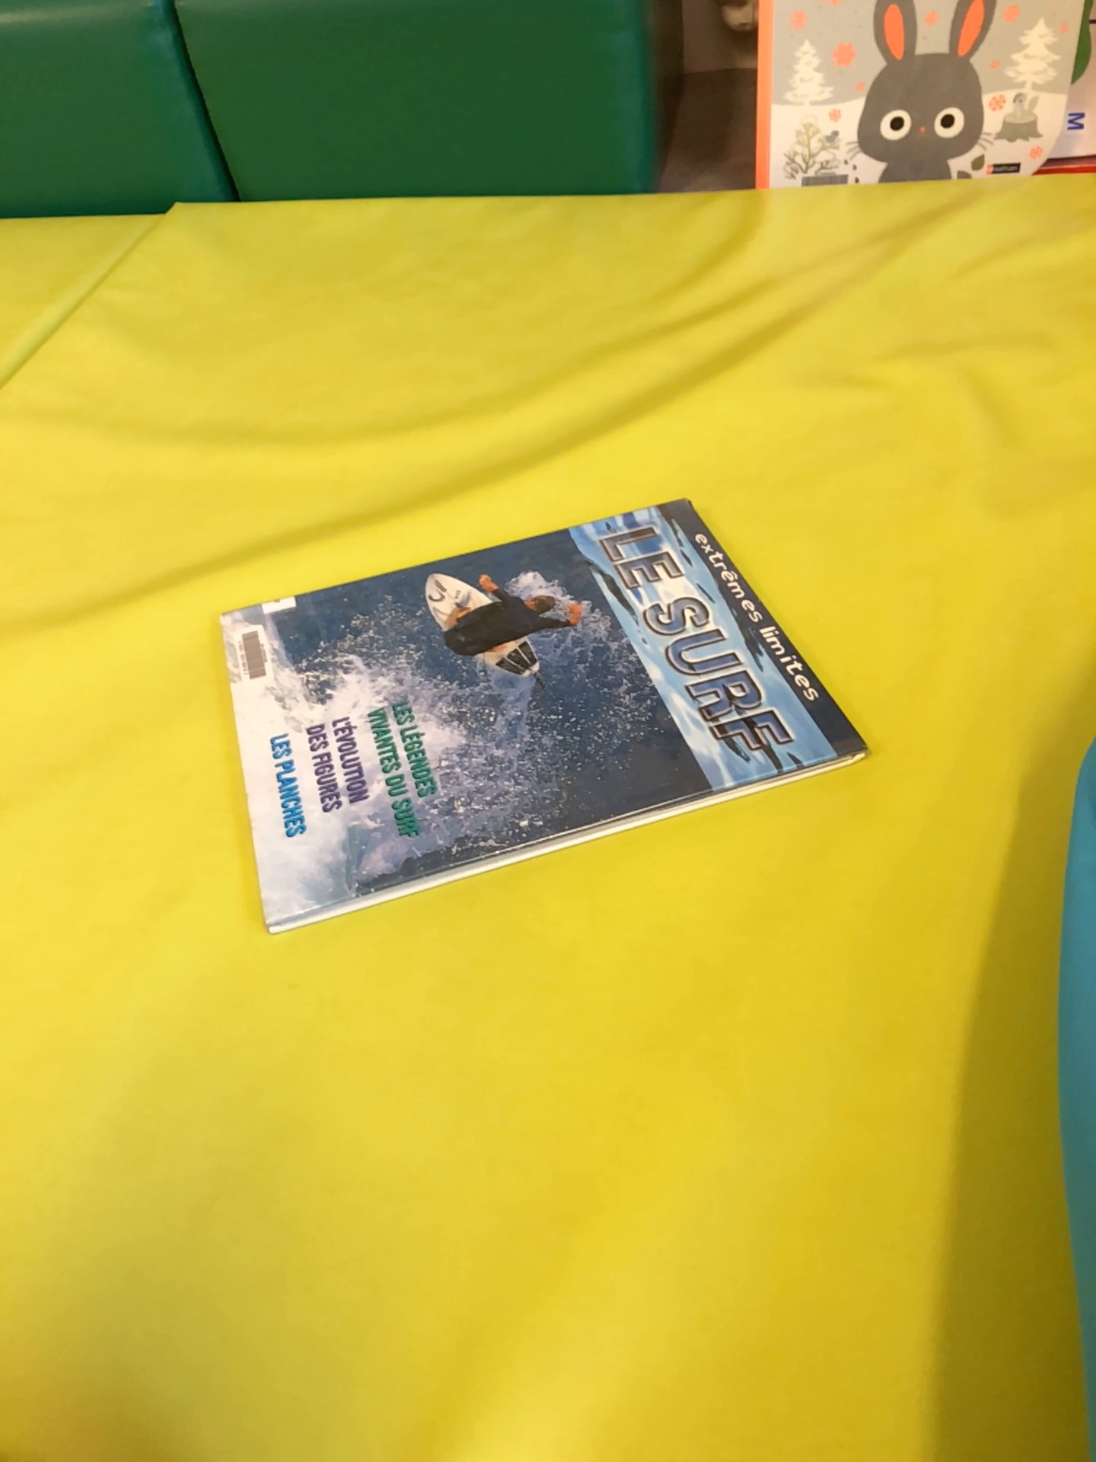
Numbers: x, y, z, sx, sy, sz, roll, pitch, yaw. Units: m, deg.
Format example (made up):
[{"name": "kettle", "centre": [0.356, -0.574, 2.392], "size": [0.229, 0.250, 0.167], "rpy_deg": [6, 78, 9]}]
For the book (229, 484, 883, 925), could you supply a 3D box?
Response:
[{"name": "book", "centre": [-0.013, -0.031, 0.598], "size": [0.273, 0.016, 0.227], "rpy_deg": [-14, 43, -8]}]
